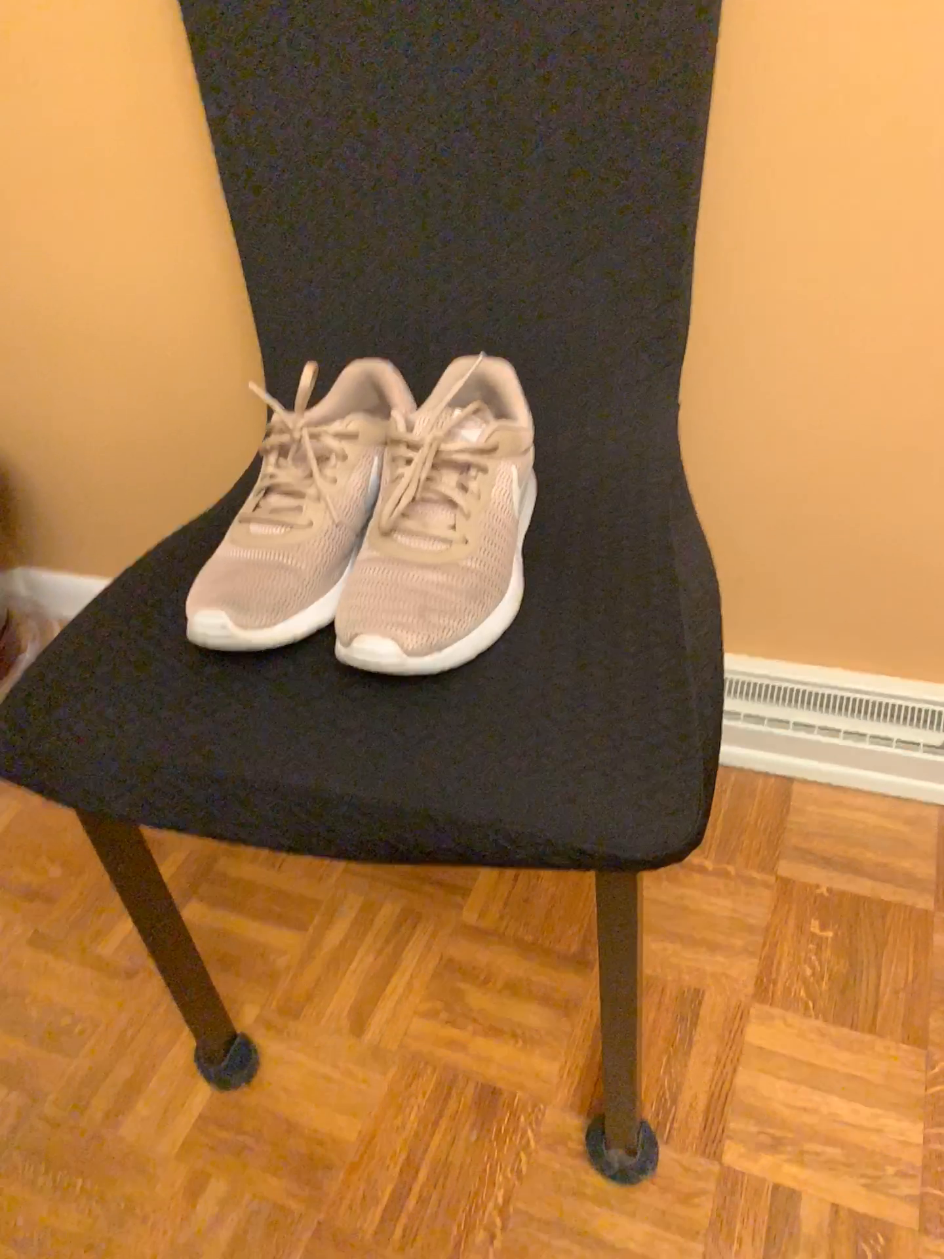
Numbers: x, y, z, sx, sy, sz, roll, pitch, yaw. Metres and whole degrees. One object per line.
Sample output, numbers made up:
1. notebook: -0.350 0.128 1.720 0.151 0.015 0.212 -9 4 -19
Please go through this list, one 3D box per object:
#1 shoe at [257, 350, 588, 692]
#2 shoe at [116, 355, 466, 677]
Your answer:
1. shoe: -0.015 -0.086 0.631 0.110 0.089 0.261 8 40 21
2. shoe: -0.110 -0.095 0.686 0.110 0.089 0.271 8 40 21
